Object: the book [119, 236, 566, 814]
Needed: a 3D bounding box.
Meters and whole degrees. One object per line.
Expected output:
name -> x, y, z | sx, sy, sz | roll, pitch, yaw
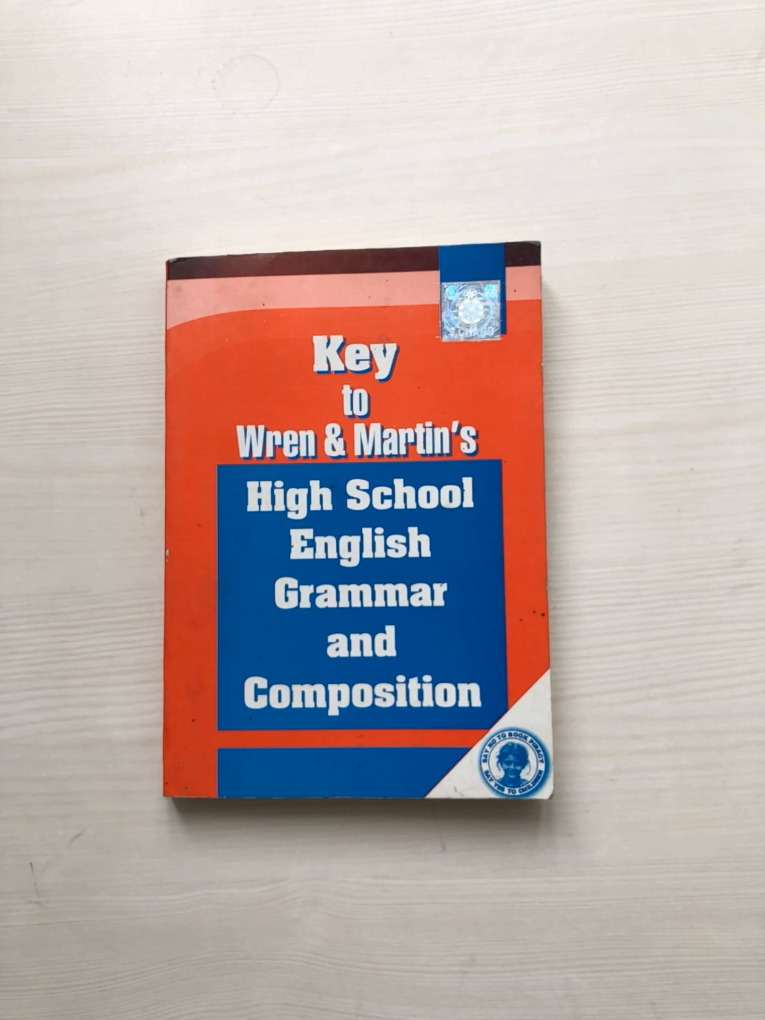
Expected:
book -> -0.012, 0.004, 0.269 | 0.130, 0.030, 0.170 | 0, 86, 2
